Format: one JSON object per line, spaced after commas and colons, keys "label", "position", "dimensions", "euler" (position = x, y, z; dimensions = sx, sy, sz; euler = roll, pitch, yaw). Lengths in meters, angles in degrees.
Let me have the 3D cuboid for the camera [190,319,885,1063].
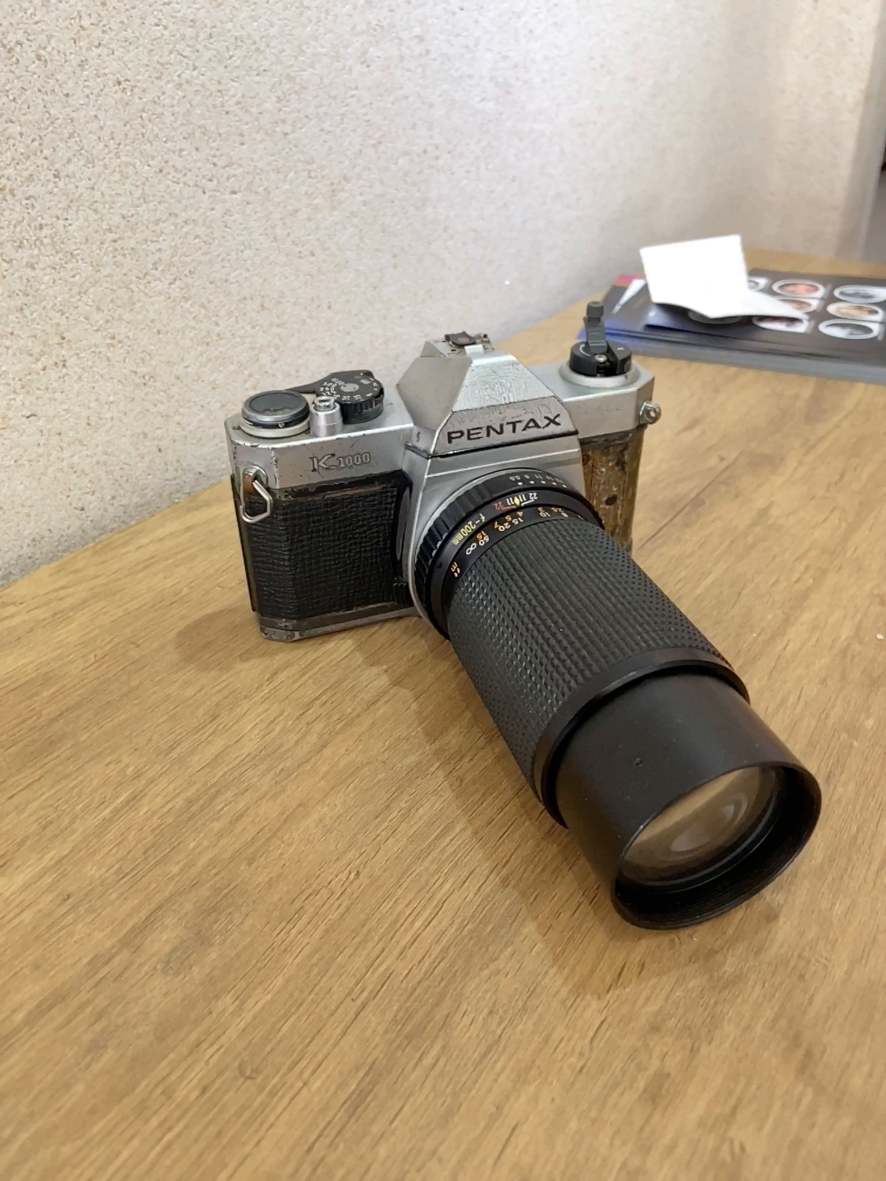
{"label": "camera", "position": [0.025, -0.001, 0.255], "dimensions": [0.150, 0.079, 0.181], "euler": [-13, 35, -16]}
